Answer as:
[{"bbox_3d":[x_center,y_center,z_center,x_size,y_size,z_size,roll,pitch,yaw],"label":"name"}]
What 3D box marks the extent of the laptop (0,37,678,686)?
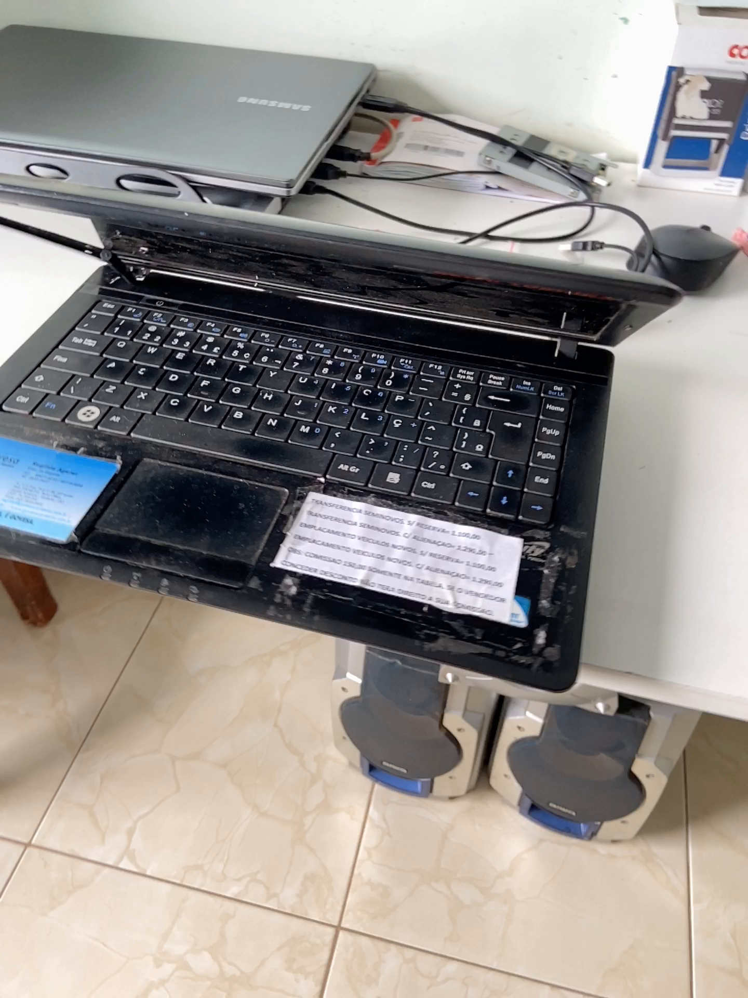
[{"bbox_3d":[-0.052,-0.089,0.362,0.335,0.144,0.228,12,47,11],"label":"laptop"}]
